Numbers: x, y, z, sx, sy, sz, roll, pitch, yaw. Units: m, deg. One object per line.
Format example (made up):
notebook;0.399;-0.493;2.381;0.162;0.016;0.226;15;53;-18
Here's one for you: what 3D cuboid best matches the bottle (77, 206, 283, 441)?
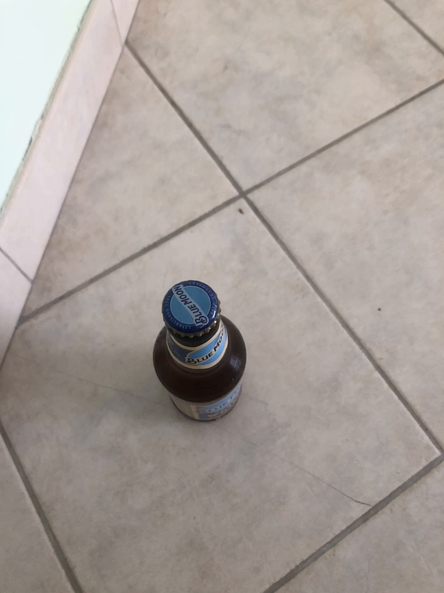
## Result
bottle;-0.021;0.037;0.335;0.070;0.210;0.070;0;69;0
